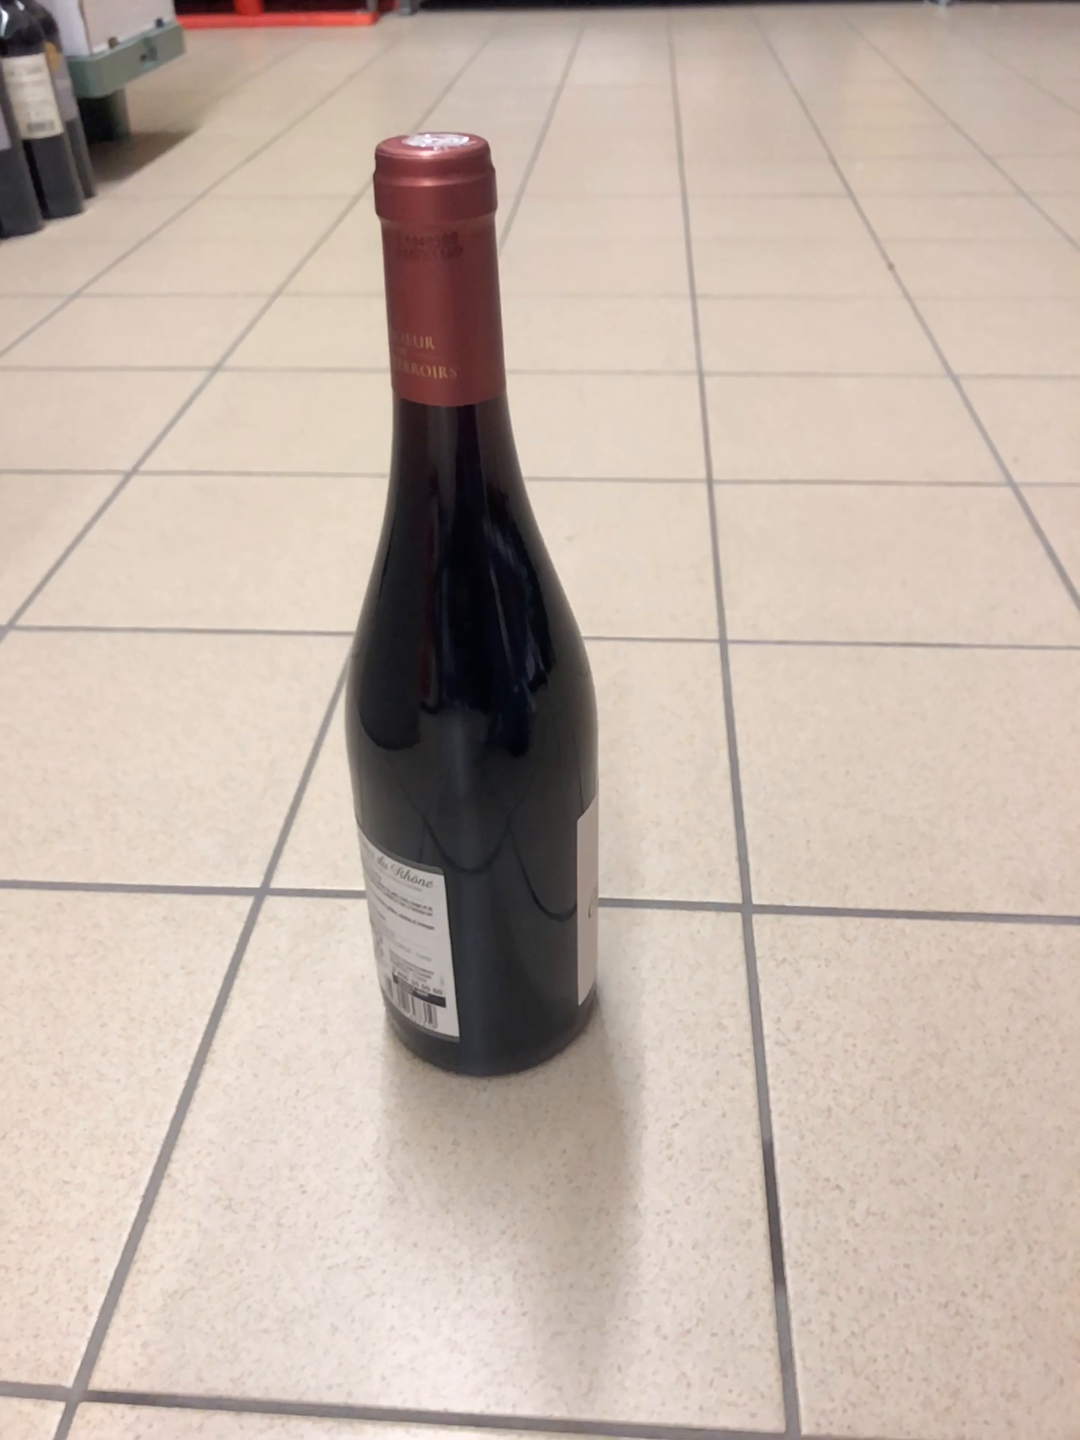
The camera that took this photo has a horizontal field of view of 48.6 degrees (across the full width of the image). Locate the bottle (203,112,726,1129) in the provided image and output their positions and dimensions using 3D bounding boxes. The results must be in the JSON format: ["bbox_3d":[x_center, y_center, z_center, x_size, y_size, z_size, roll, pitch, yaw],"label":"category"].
[{"bbox_3d":[-0.018,-0.016,0.346,0.090,0.268,0.090,-1,36,1],"label":"bottle"}]
